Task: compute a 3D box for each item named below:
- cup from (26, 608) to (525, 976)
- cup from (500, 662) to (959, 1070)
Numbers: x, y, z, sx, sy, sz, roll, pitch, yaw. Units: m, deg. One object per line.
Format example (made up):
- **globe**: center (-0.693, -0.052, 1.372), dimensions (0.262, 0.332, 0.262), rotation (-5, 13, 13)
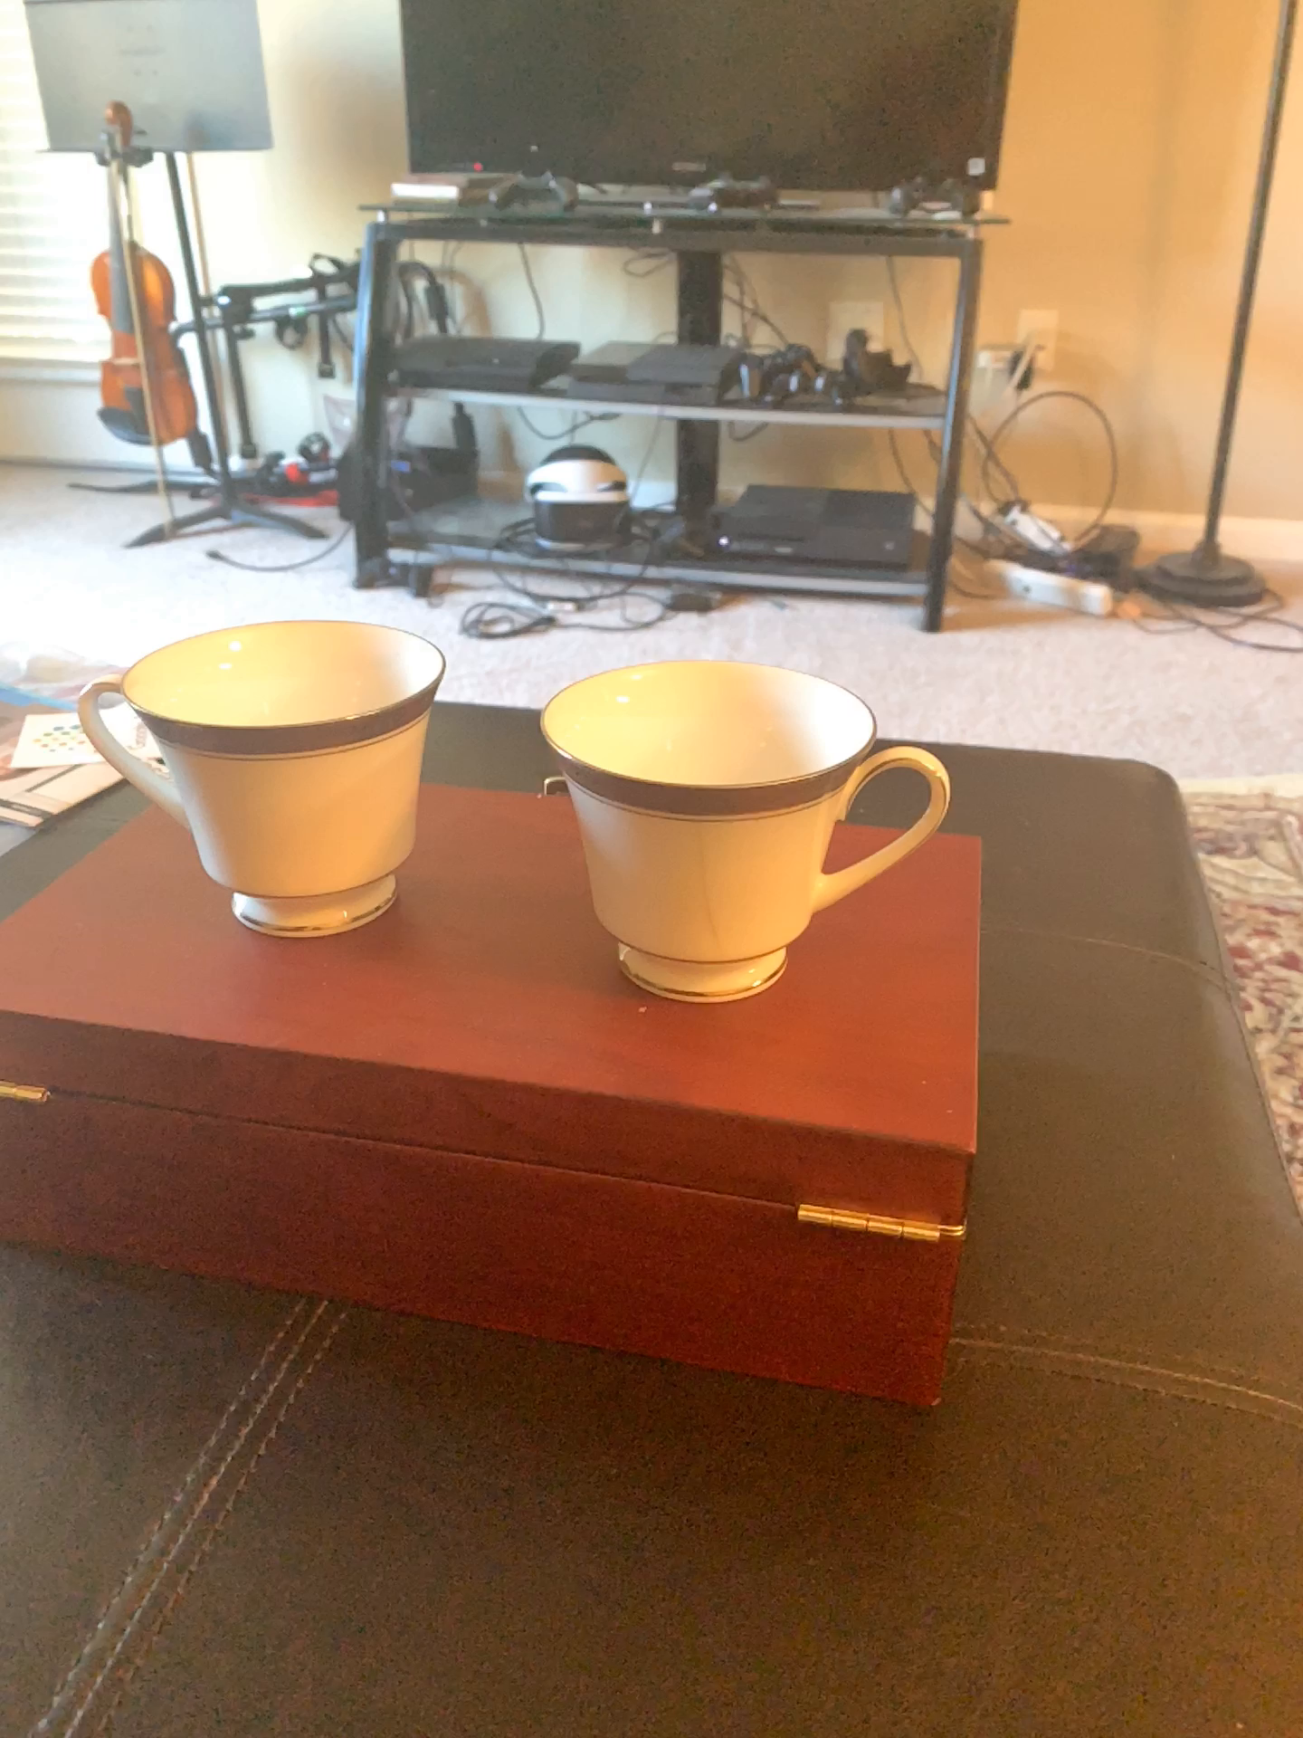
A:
- **cup**: center (-0.107, -0.028, 0.411), dimensions (0.110, 0.070, 0.090), rotation (7, 29, 13)
- **cup**: center (0.026, -0.006, 0.383), dimensions (0.110, 0.070, 0.090), rotation (7, 29, 12)
